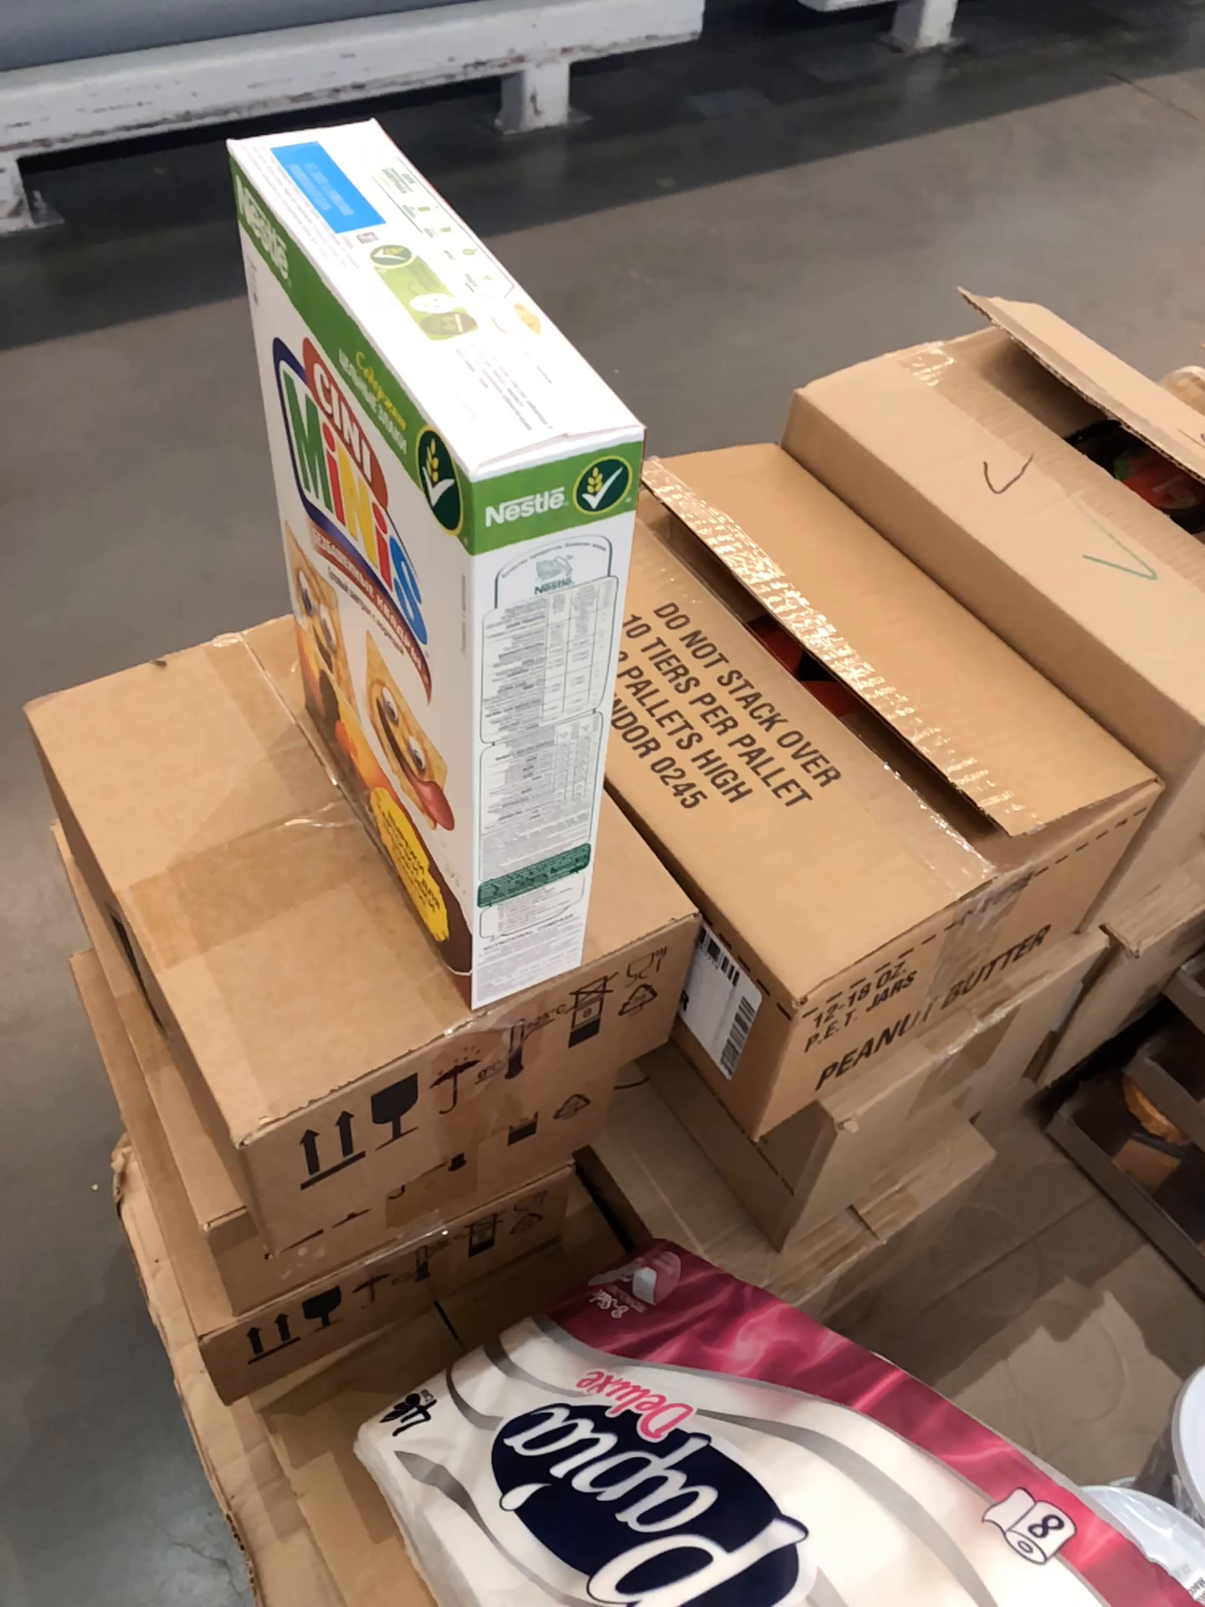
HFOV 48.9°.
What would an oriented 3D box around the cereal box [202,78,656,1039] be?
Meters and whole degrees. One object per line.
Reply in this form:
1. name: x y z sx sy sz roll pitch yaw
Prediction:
1. cereal box: -0.068 -0.076 0.487 0.060 0.278 0.201 -19 54 -20
